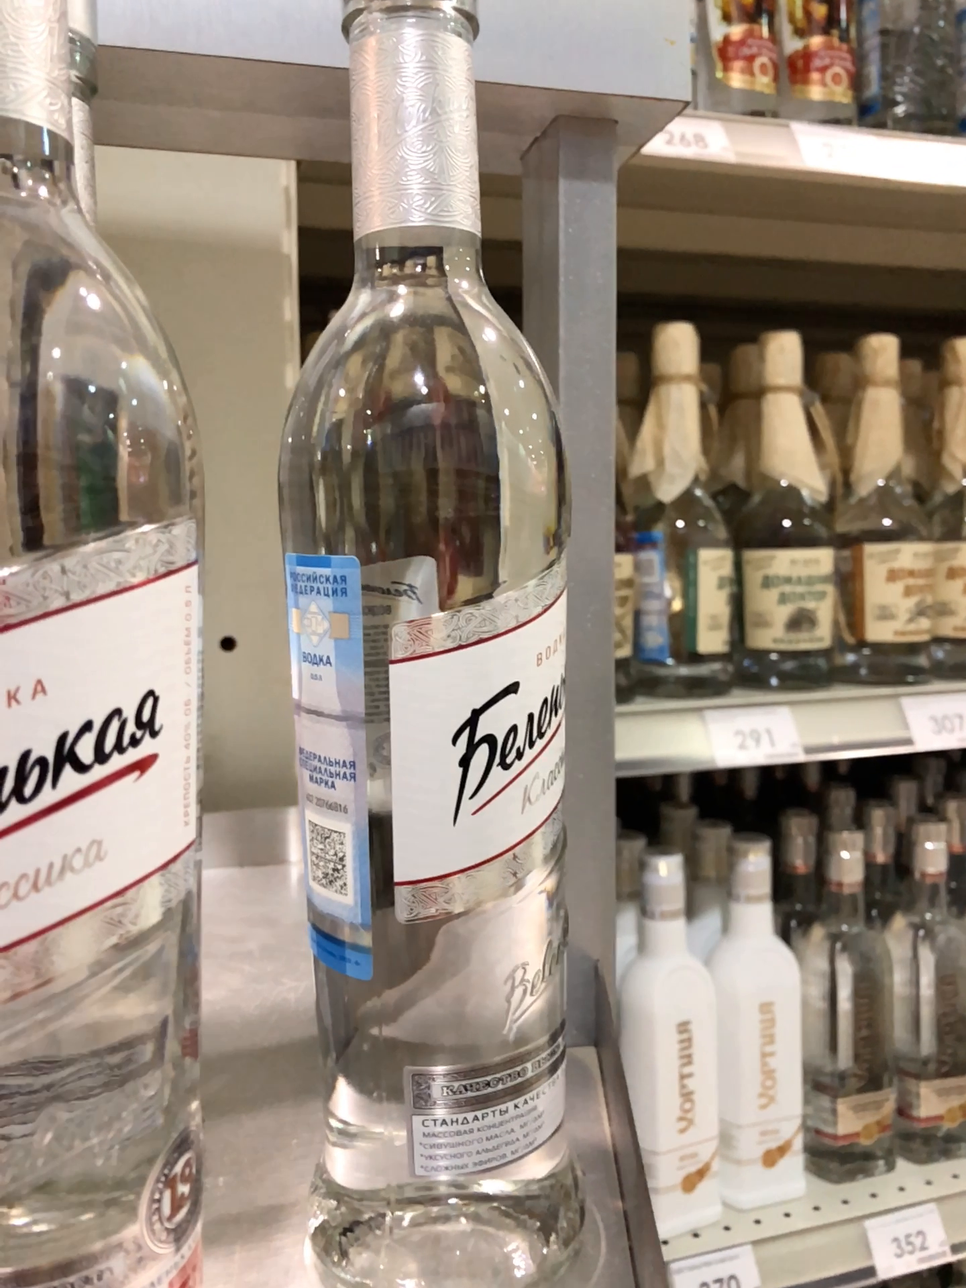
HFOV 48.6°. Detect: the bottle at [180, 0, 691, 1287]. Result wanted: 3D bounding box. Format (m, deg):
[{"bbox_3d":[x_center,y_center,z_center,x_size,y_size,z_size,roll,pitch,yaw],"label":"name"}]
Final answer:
[{"bbox_3d":[-0.004,-0.017,0.244,0.080,0.310,0.080,-1,5,0],"label":"bottle"}]
